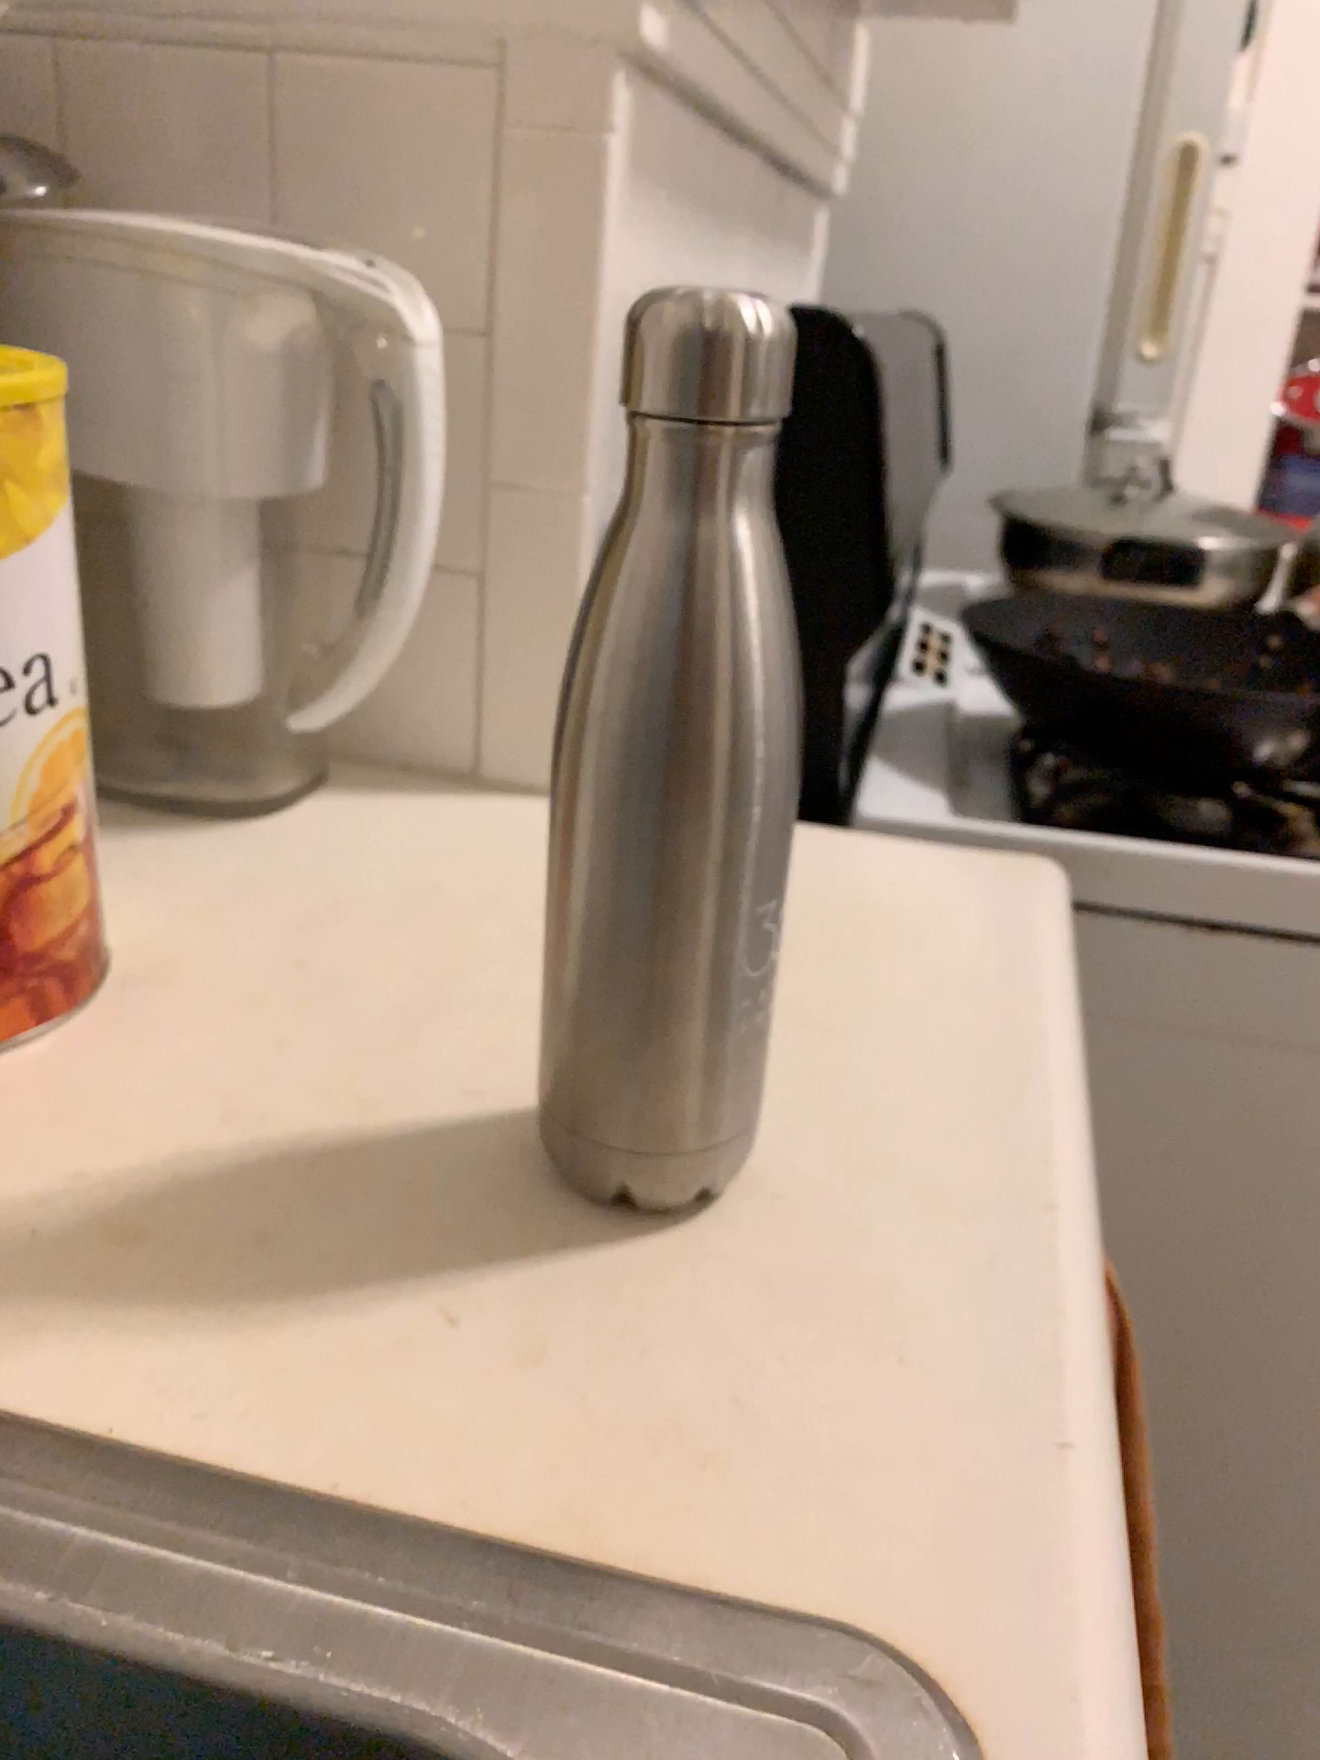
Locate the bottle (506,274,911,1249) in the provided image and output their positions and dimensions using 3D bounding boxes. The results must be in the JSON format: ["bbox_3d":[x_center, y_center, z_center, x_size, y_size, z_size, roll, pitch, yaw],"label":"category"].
[{"bbox_3d":[0.009,-0.029,0.384,0.070,0.249,0.070,4,24,-2],"label":"bottle"}]
